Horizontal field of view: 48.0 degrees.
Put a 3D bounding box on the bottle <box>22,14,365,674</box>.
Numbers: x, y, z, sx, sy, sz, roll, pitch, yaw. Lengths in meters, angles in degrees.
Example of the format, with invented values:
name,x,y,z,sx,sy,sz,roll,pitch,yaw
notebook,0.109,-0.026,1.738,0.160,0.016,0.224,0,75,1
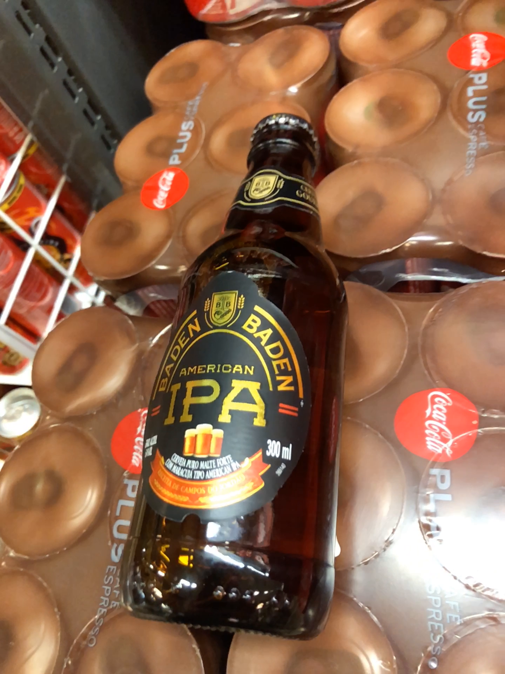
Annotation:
name,x,y,z,sx,sy,sz,roll,pitch,yaw
bottle,-0.003,-0.013,0.194,0.070,0.050,0.211,-2,62,18
